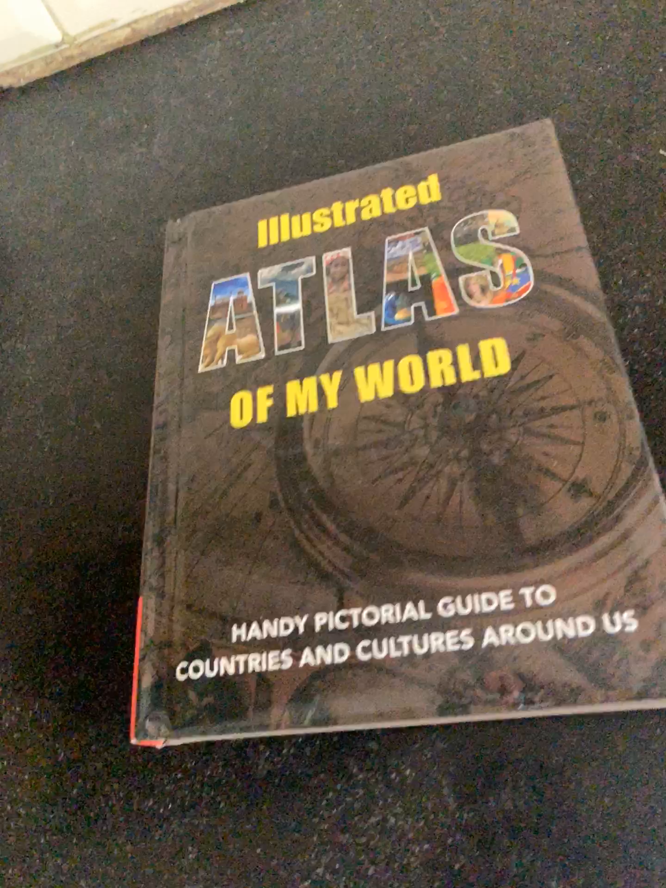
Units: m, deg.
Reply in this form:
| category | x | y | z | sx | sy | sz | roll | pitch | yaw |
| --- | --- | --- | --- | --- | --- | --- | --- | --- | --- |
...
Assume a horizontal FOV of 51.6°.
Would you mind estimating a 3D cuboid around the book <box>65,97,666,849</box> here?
| category | x | y | z | sx | sy | sz | roll | pitch | yaw |
| --- | --- | --- | --- | --- | --- | --- | --- | --- | --- |
| book | 0.010 | -0.004 | 0.272 | 0.200 | 0.040 | 0.271 | -11 | 62 | 12 |
